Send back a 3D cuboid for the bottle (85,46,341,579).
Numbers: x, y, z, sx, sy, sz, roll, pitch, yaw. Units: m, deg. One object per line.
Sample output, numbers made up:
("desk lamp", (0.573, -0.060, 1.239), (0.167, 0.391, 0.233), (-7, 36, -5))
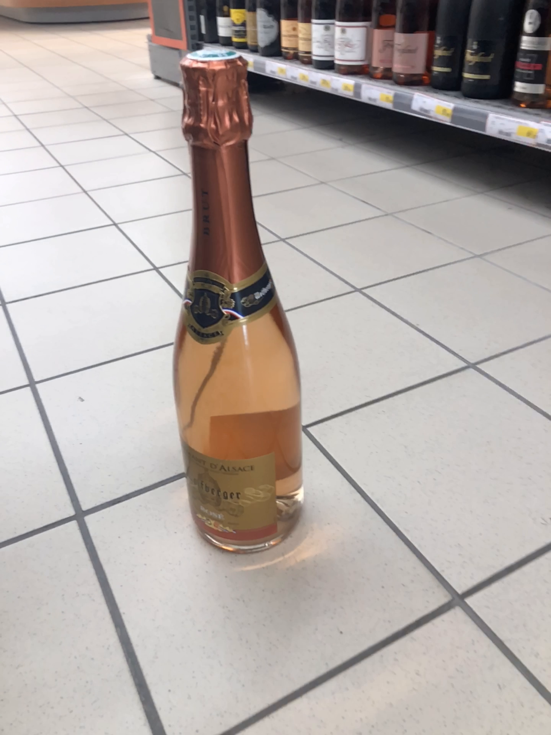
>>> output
("bottle", (-0.022, -0.020, 0.375), (0.090, 0.308, 0.091), (-1, 32, 1))
